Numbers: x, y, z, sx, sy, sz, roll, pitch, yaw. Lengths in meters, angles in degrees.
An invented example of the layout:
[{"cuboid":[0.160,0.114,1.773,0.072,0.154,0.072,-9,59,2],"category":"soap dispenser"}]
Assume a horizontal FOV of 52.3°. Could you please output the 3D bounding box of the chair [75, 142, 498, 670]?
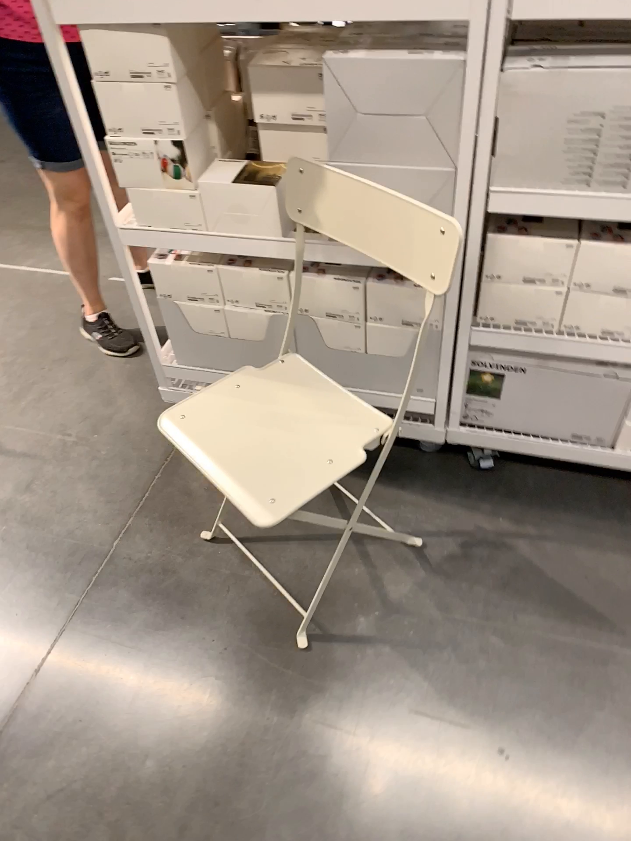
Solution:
[{"cuboid":[-0.025,-0.008,1.225,0.458,0.783,0.438,-33,50,-25],"category":"chair"}]
